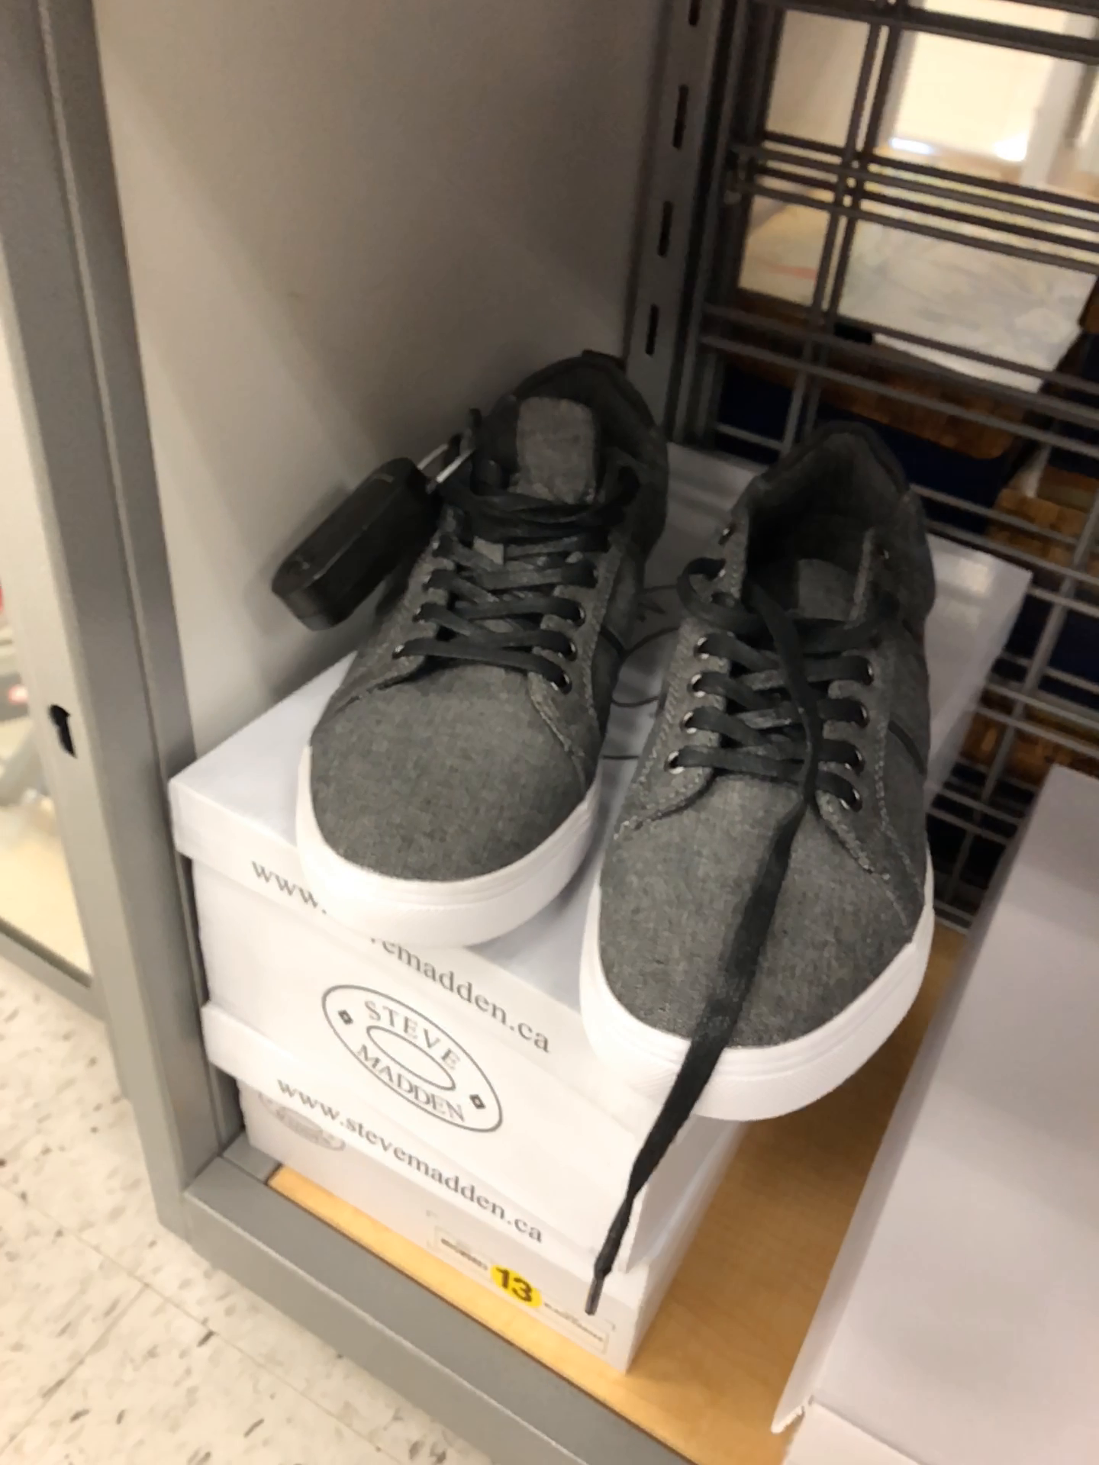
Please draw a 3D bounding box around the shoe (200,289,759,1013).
[{"bbox_3d":[-0.006,-0.049,0.421,0.110,0.106,0.255,12,40,8],"label":"shoe"}]

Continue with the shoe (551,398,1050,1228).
[{"bbox_3d":[0.090,0.002,0.392,0.100,0.106,0.255,14,40,11],"label":"shoe"}]
